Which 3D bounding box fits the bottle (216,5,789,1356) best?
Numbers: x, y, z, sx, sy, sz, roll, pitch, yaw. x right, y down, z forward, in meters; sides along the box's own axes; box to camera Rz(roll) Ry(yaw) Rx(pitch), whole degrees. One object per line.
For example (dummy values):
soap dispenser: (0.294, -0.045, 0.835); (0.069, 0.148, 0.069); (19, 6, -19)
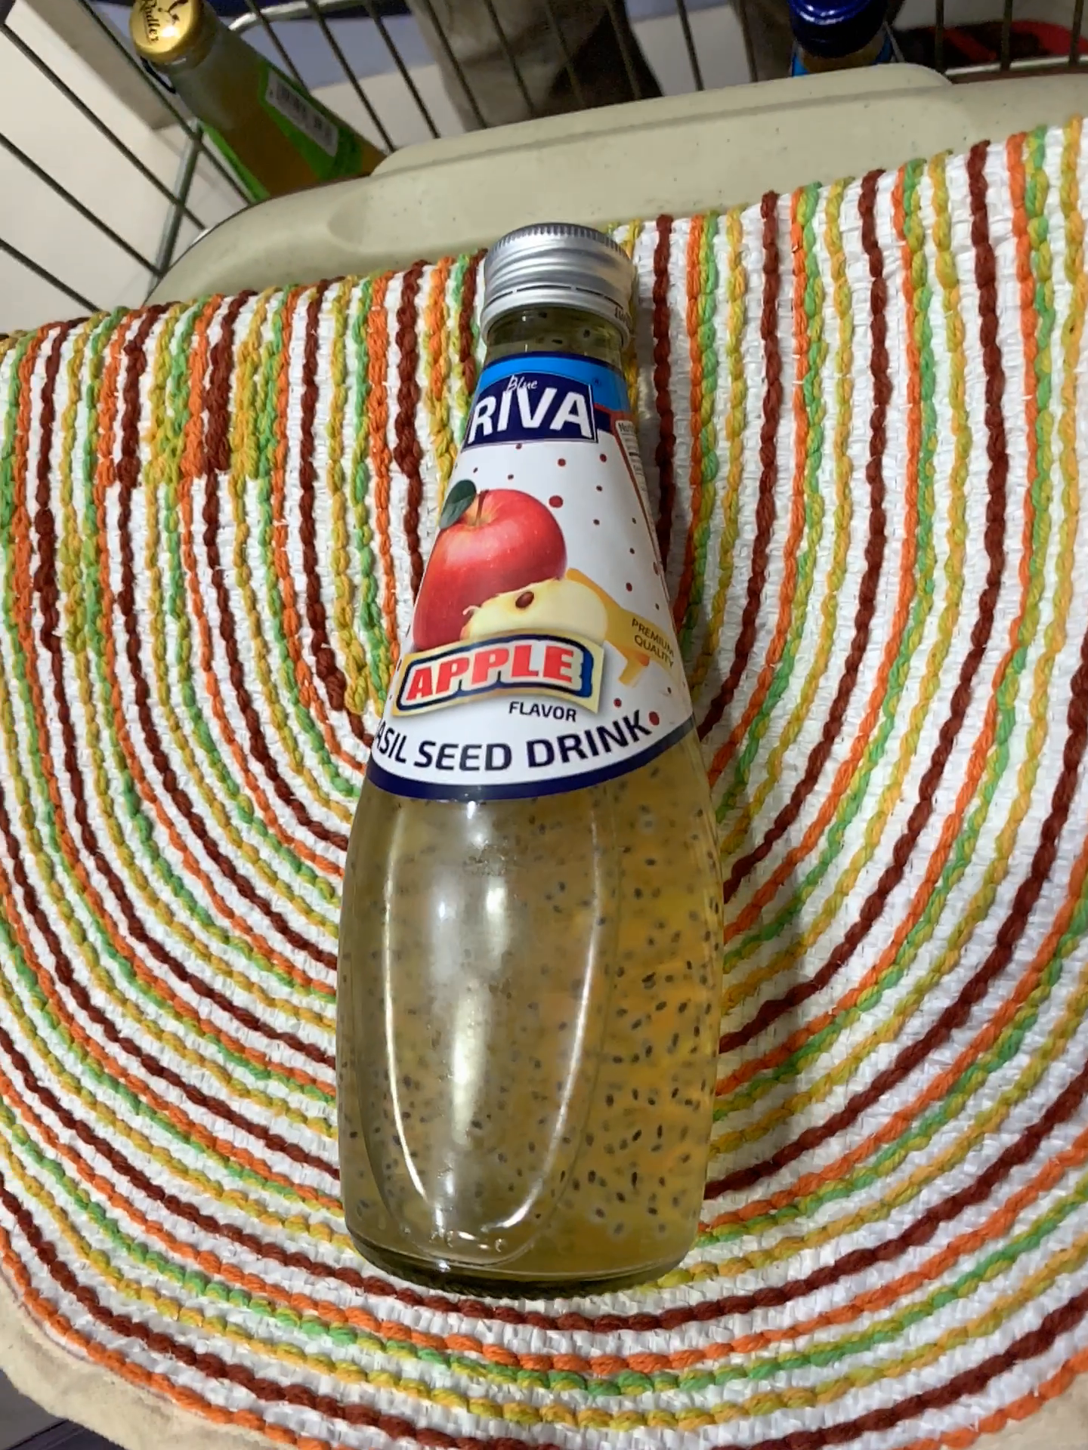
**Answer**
bottle: (0.001, -0.013, 0.196); (0.070, 0.050, 0.200); (0, 77, 20)
